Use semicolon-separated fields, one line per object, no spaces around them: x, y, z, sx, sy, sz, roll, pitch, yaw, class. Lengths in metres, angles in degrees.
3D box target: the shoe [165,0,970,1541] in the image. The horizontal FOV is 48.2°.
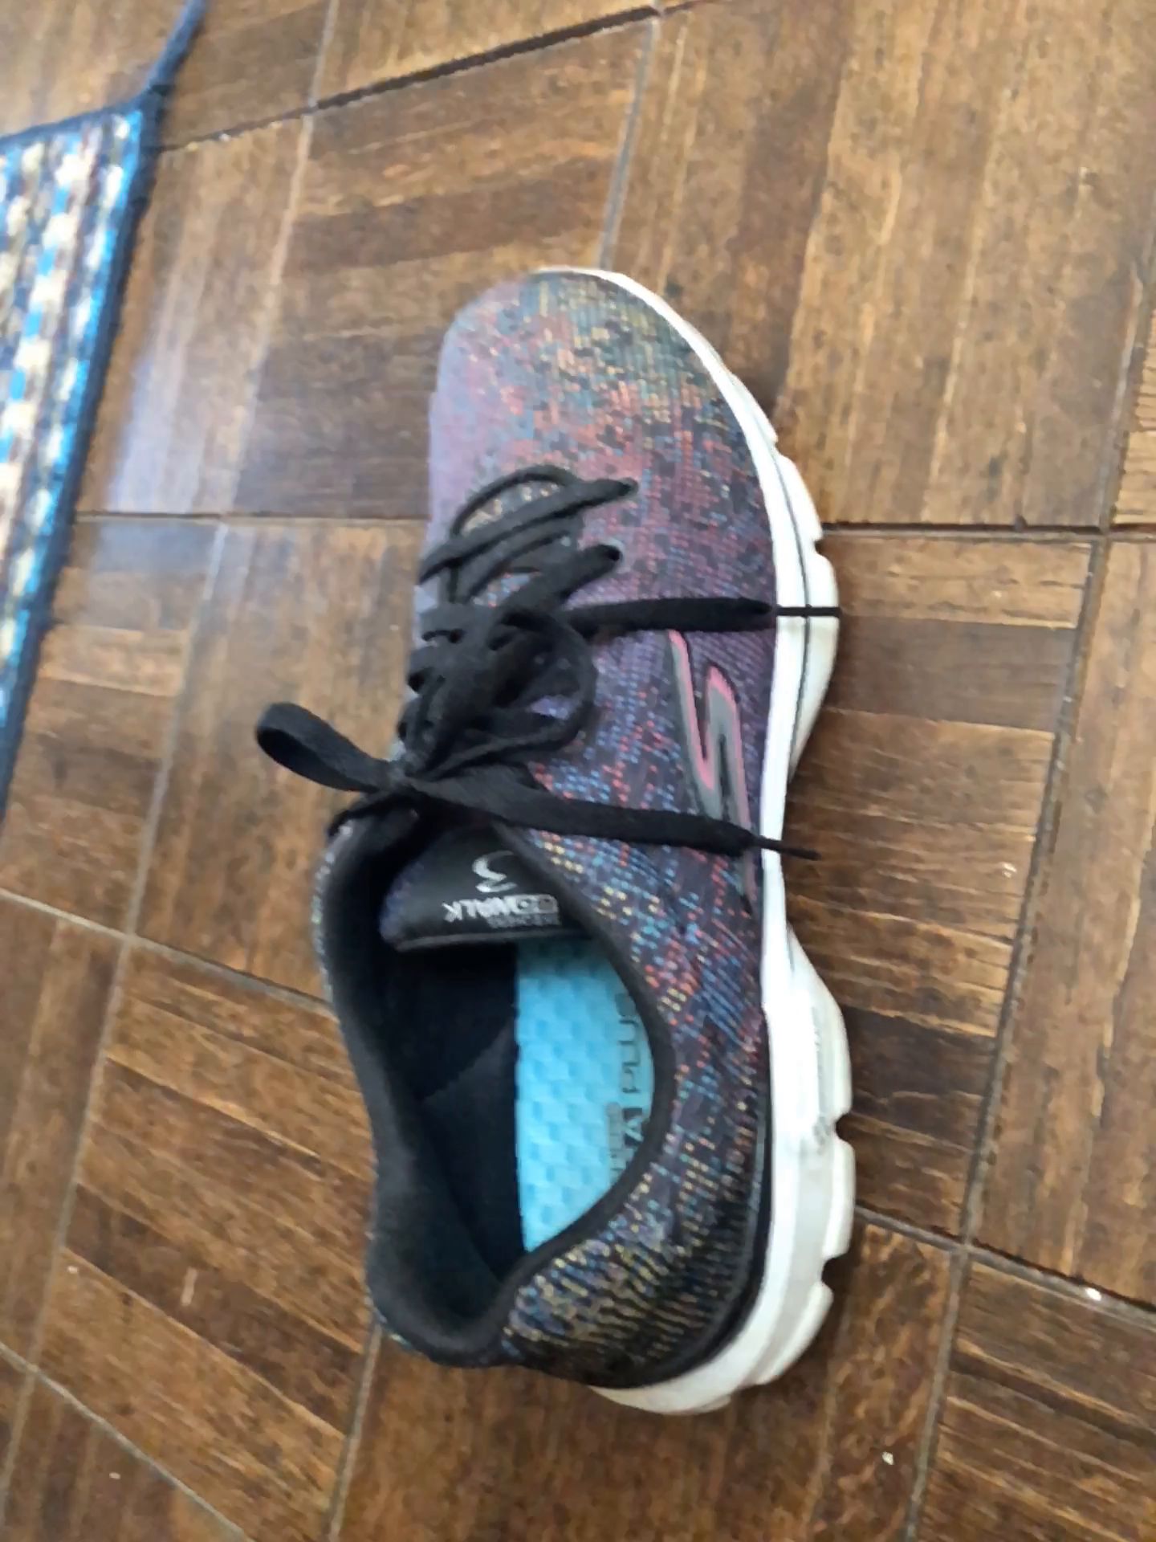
-0.001;0.001;0.289;0.111;0.120;0.290;-11;74;35;shoe
